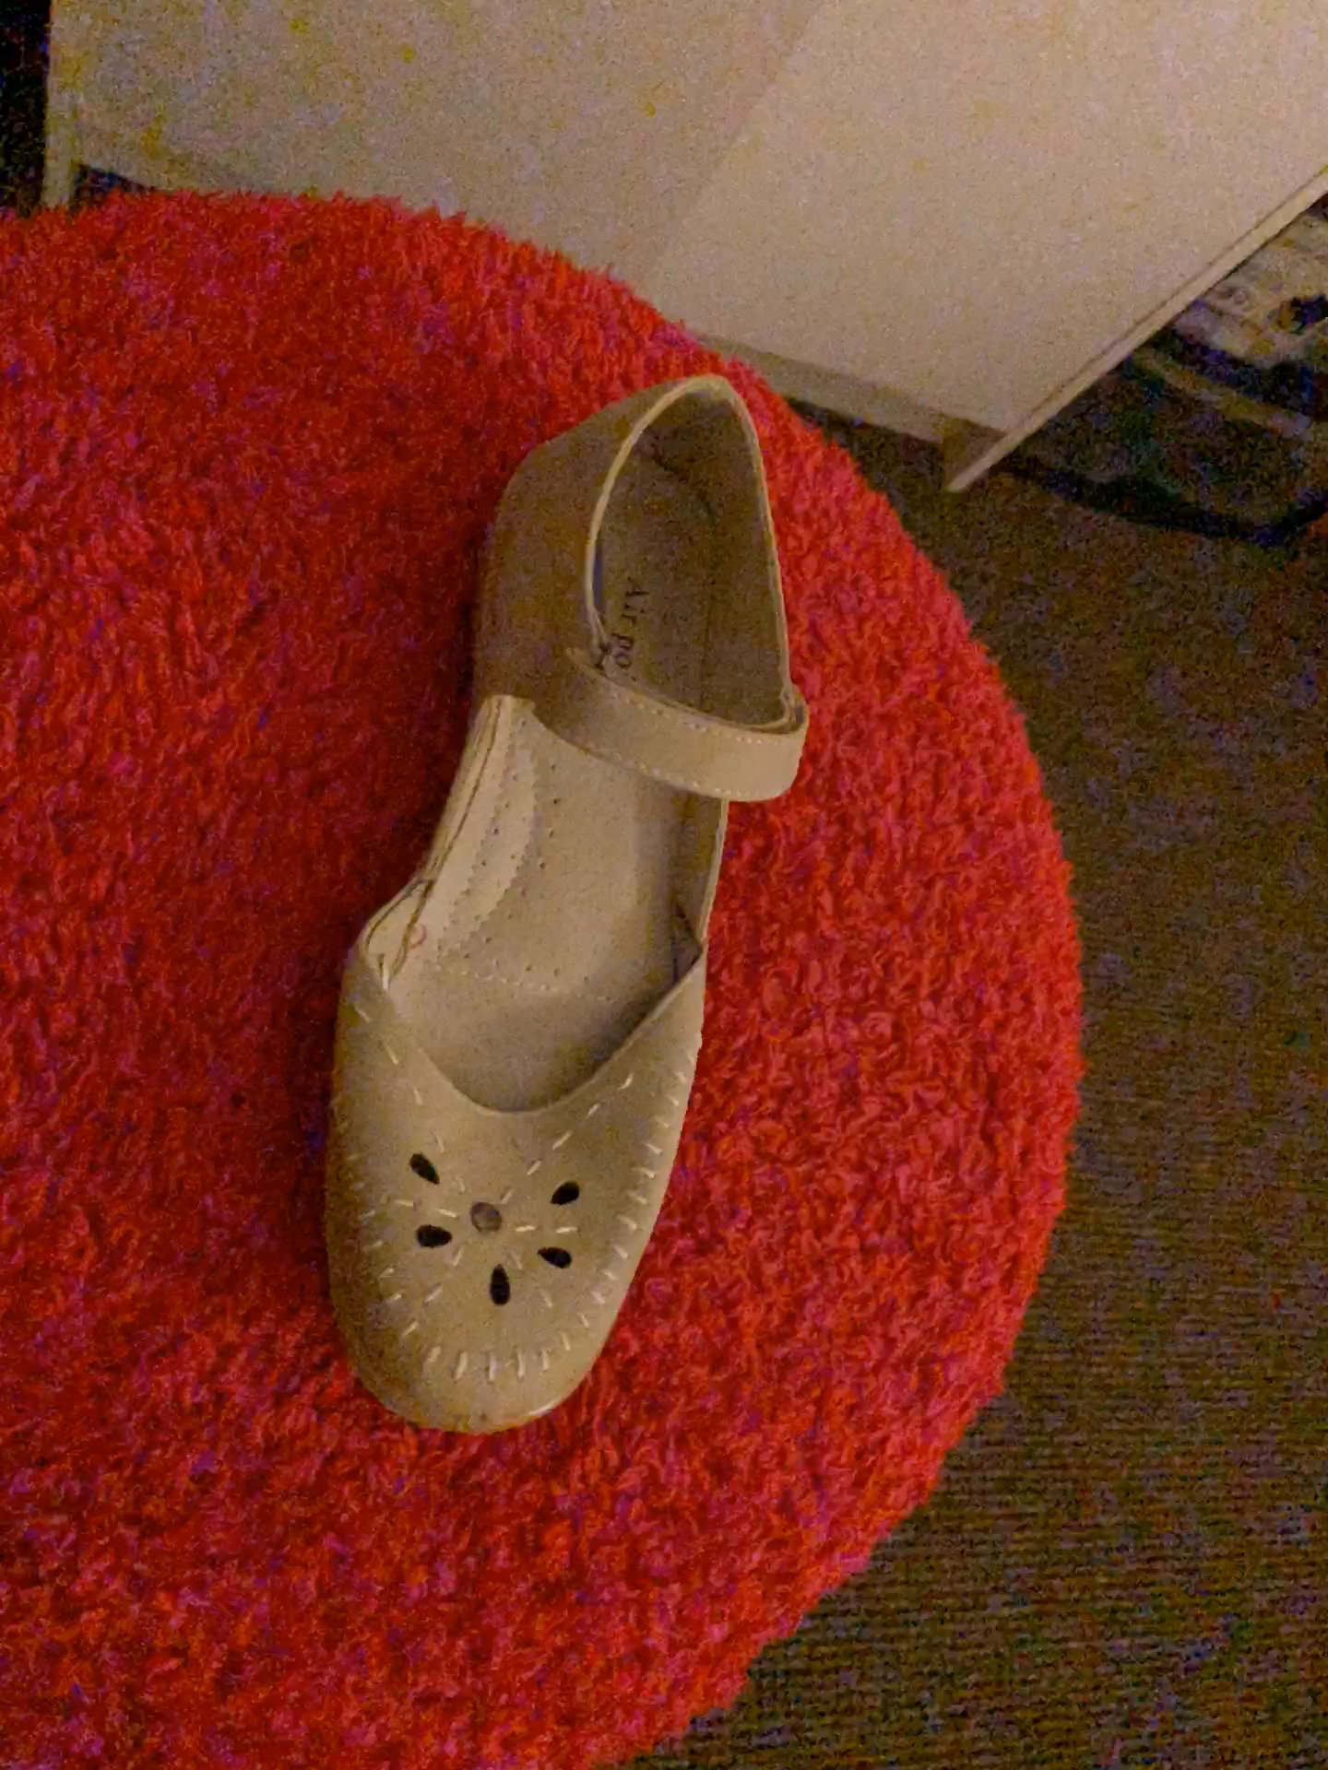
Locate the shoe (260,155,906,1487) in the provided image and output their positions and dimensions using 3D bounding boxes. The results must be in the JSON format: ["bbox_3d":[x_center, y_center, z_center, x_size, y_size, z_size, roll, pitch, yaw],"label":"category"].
[{"bbox_3d":[-0.012,-0.023,0.347,0.095,0.080,0.307,16,68,-21],"label":"shoe"}]
